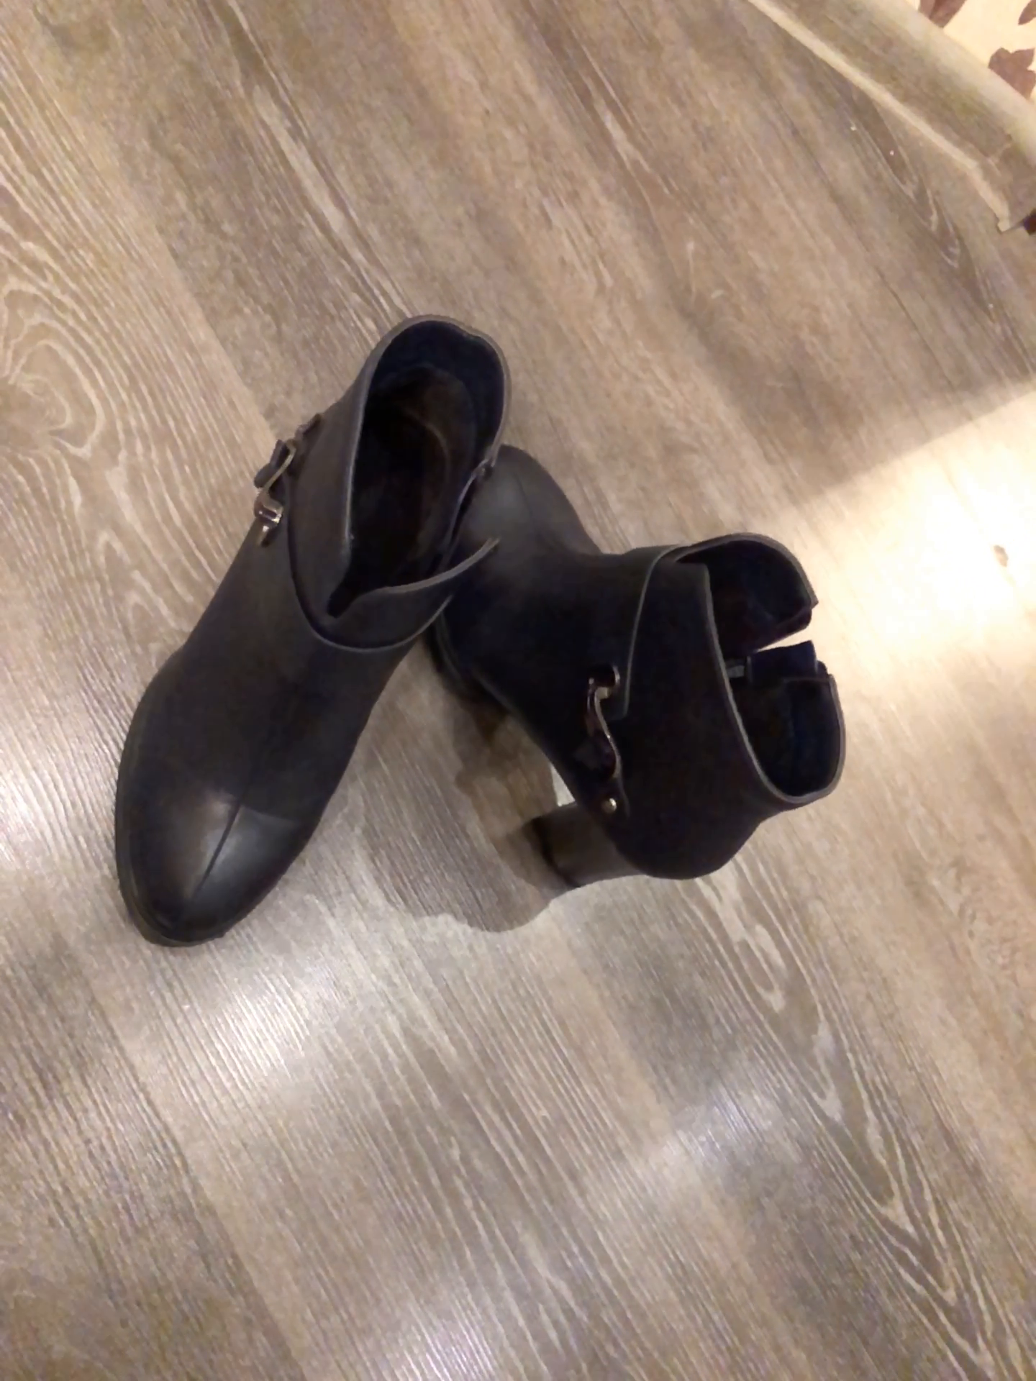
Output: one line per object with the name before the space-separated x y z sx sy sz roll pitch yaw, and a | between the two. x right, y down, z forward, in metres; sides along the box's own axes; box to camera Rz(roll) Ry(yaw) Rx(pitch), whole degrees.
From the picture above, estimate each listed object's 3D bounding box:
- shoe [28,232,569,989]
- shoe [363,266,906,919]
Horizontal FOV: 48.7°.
shoe | -0.087 -0.010 0.418 0.090 0.189 0.211 23 68 -15
shoe | 0.030 -0.027 0.481 0.090 0.189 0.210 -14 81 -25
